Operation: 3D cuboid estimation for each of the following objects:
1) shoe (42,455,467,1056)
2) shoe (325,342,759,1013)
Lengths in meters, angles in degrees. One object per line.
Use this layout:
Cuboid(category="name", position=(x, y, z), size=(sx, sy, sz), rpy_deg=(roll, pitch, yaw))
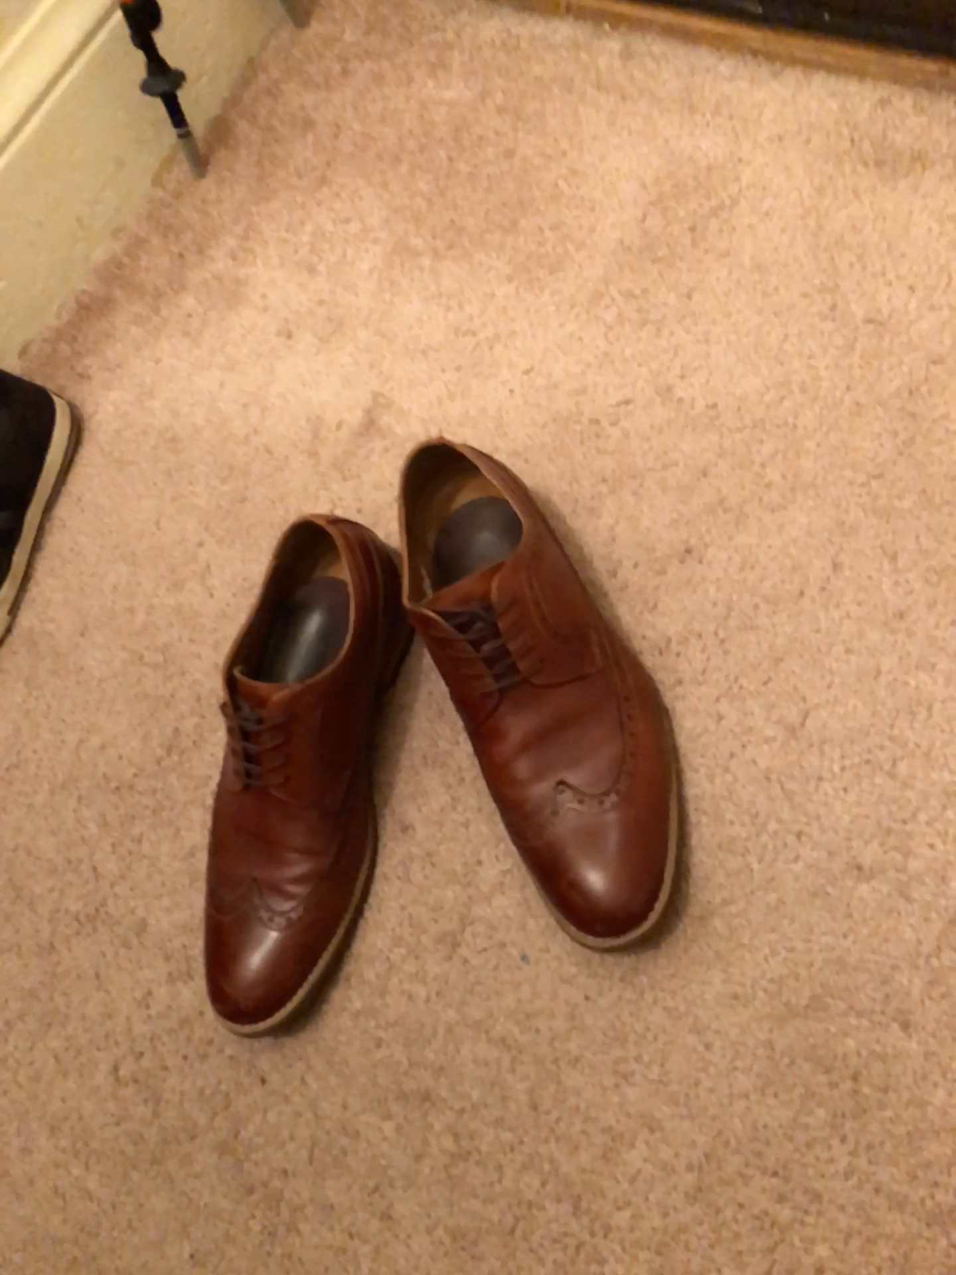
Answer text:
Cuboid(category="shoe", position=(-0.114, 0.062, 0.597), size=(0.115, 0.115, 0.311), rpy_deg=(5, 72, 26))
Cuboid(category="shoe", position=(0.026, 0.019, 0.545), size=(0.115, 0.115, 0.311), rpy_deg=(-23, 62, 14))
